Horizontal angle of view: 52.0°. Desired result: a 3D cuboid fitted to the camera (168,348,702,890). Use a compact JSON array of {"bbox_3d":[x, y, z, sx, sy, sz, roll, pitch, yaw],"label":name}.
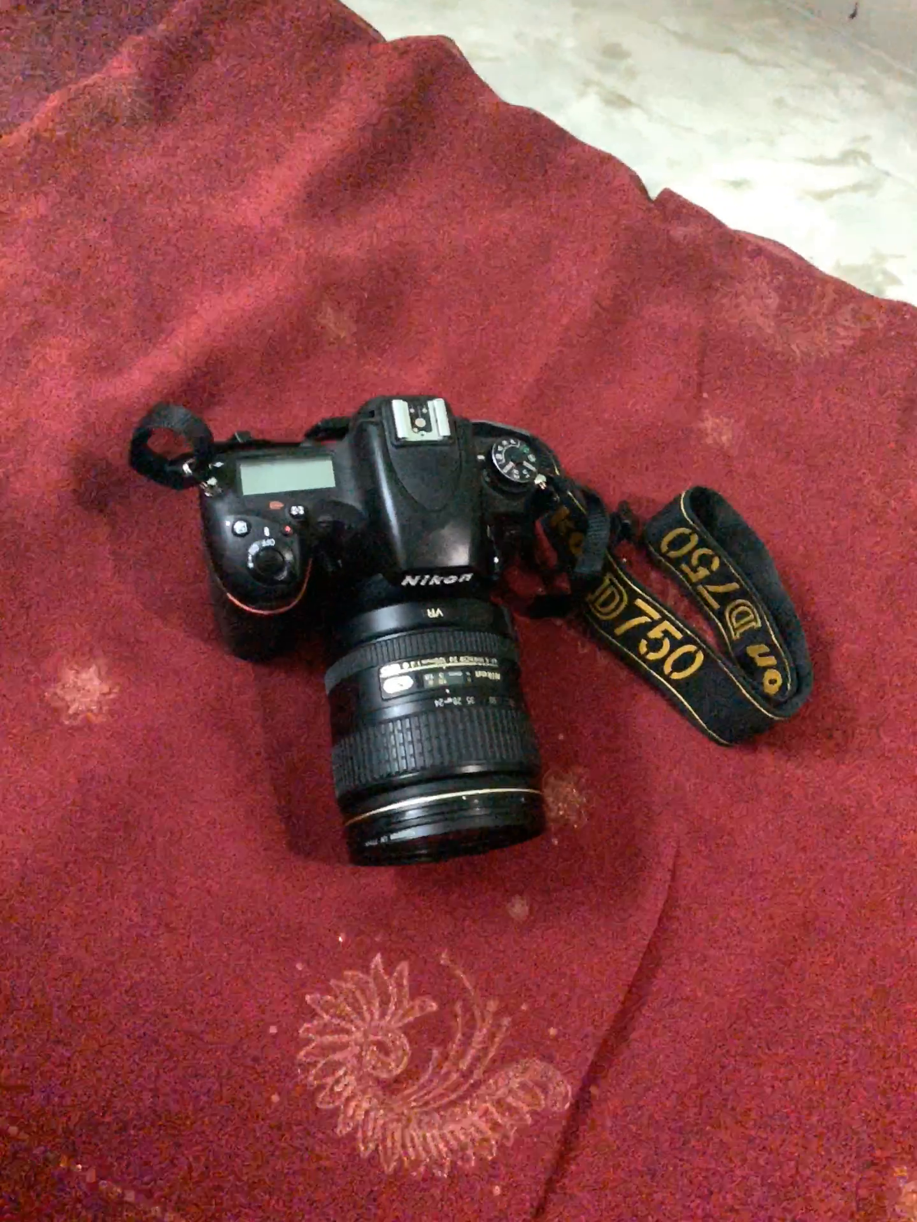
[{"bbox_3d":[-0.020,0.004,0.351,0.150,0.110,0.160,-5,67,-12],"label":"camera"}]
